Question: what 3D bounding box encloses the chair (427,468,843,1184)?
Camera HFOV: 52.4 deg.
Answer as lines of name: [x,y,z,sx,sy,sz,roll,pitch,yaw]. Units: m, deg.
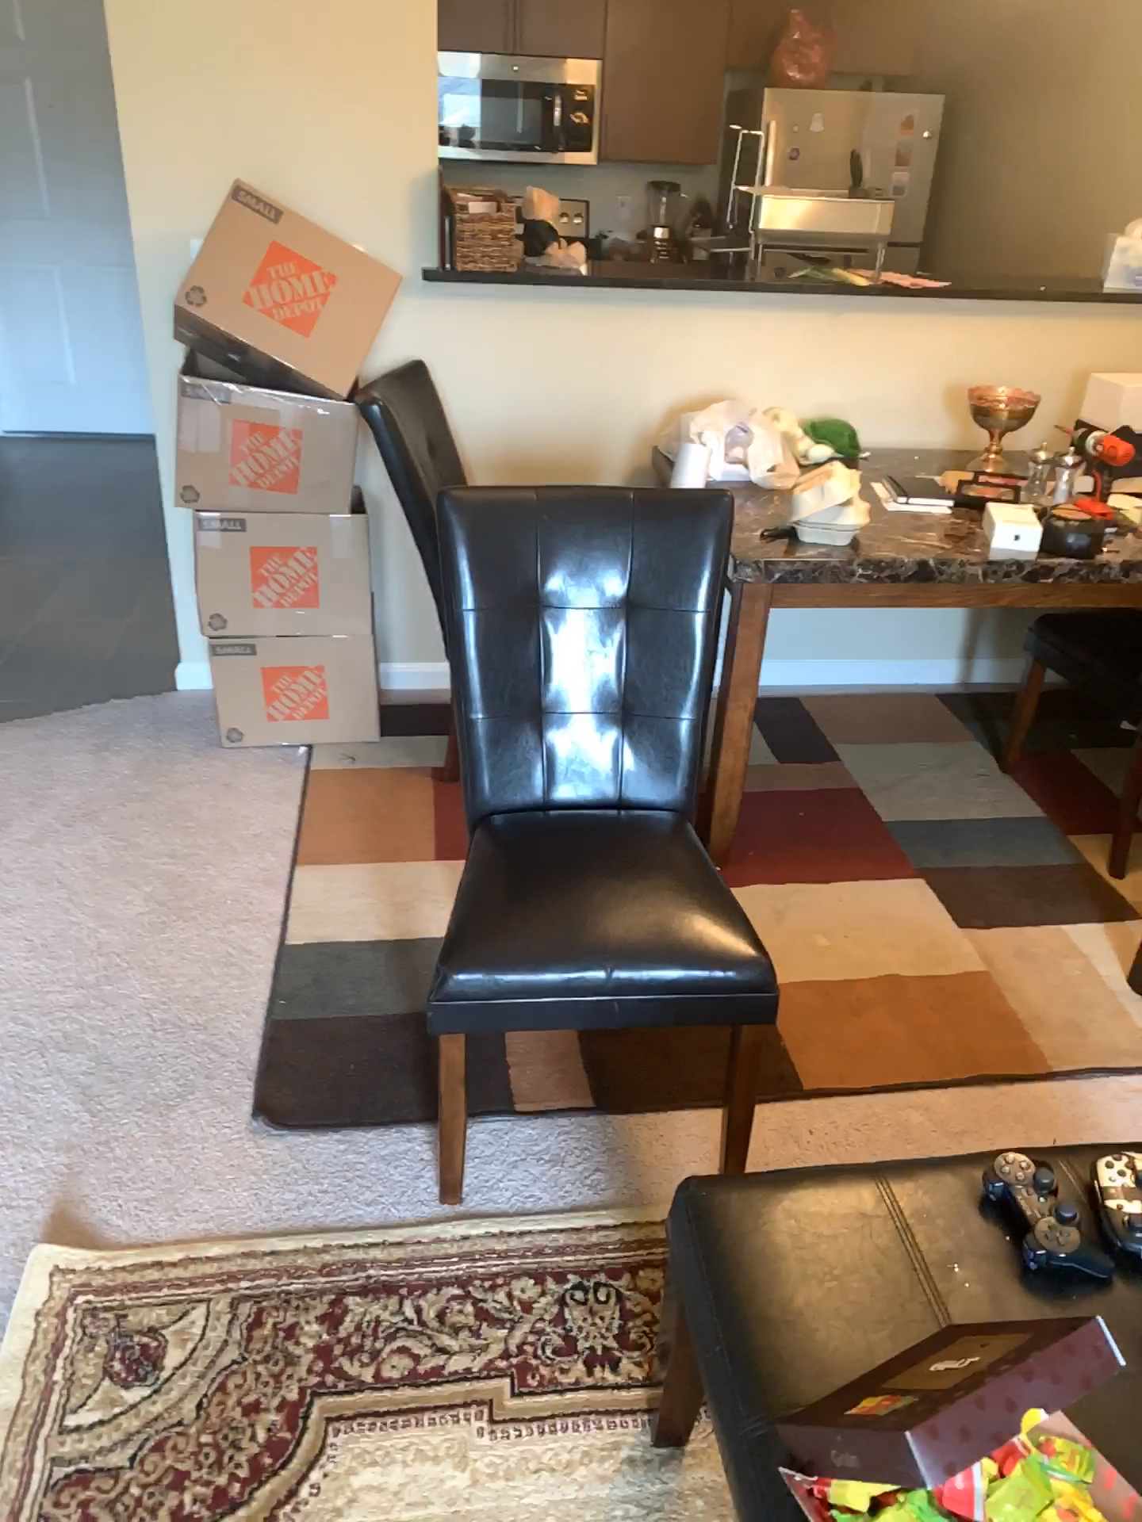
chair: [0.028,0.079,1.854,0.490,0.915,0.654,0,28,-6]
